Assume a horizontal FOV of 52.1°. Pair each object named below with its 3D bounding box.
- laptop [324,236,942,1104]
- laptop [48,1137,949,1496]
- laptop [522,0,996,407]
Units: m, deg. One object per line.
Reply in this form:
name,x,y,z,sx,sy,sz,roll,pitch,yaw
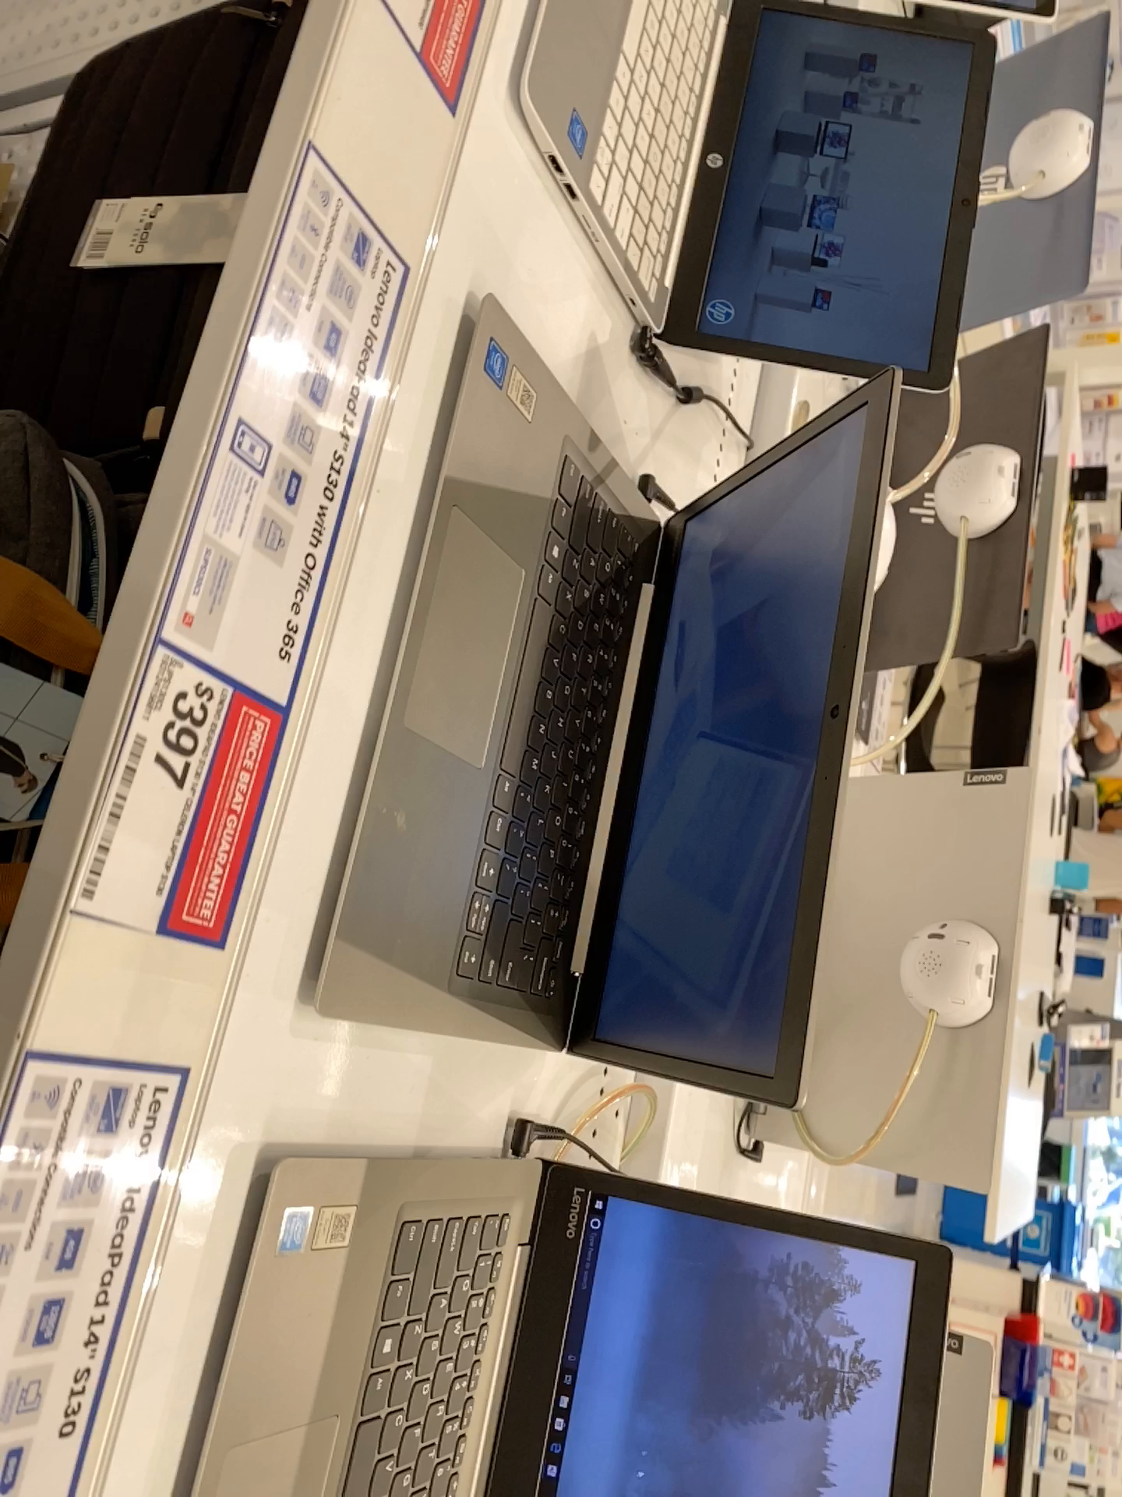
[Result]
laptop,0.061,-0.017,0.557,0.231,0.171,0.329,35,63,-59
laptop,0.021,0.367,0.494,0.311,0.215,0.329,38,60,-59
laptop,0.144,-0.413,0.678,0.286,0.155,0.304,35,61,-58
